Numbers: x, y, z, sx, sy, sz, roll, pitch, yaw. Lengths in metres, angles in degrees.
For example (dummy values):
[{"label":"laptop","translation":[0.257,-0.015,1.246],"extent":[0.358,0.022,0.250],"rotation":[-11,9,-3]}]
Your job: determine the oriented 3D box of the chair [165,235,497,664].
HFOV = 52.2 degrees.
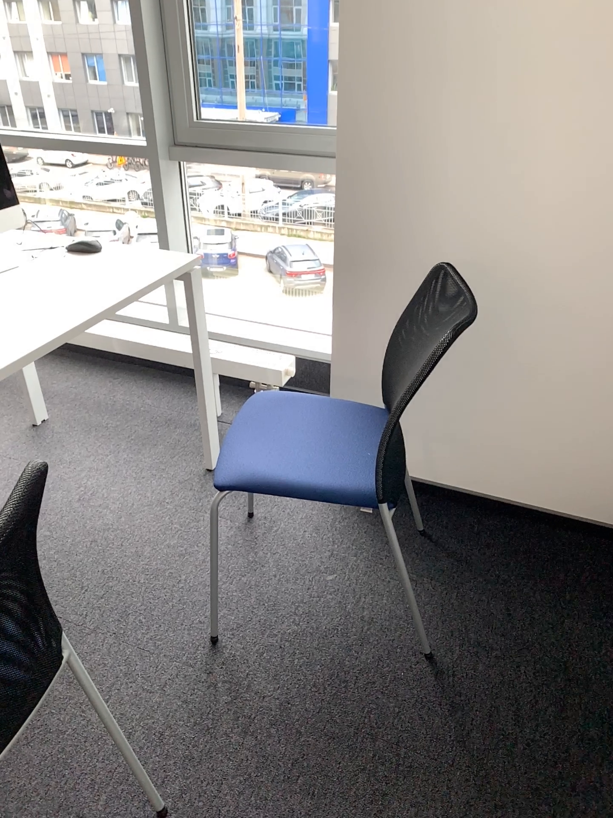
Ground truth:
[{"label":"chair","translation":[0.059,0.098,1.572],"extent":[0.590,0.895,0.533],"rotation":[3,32,4]}]
